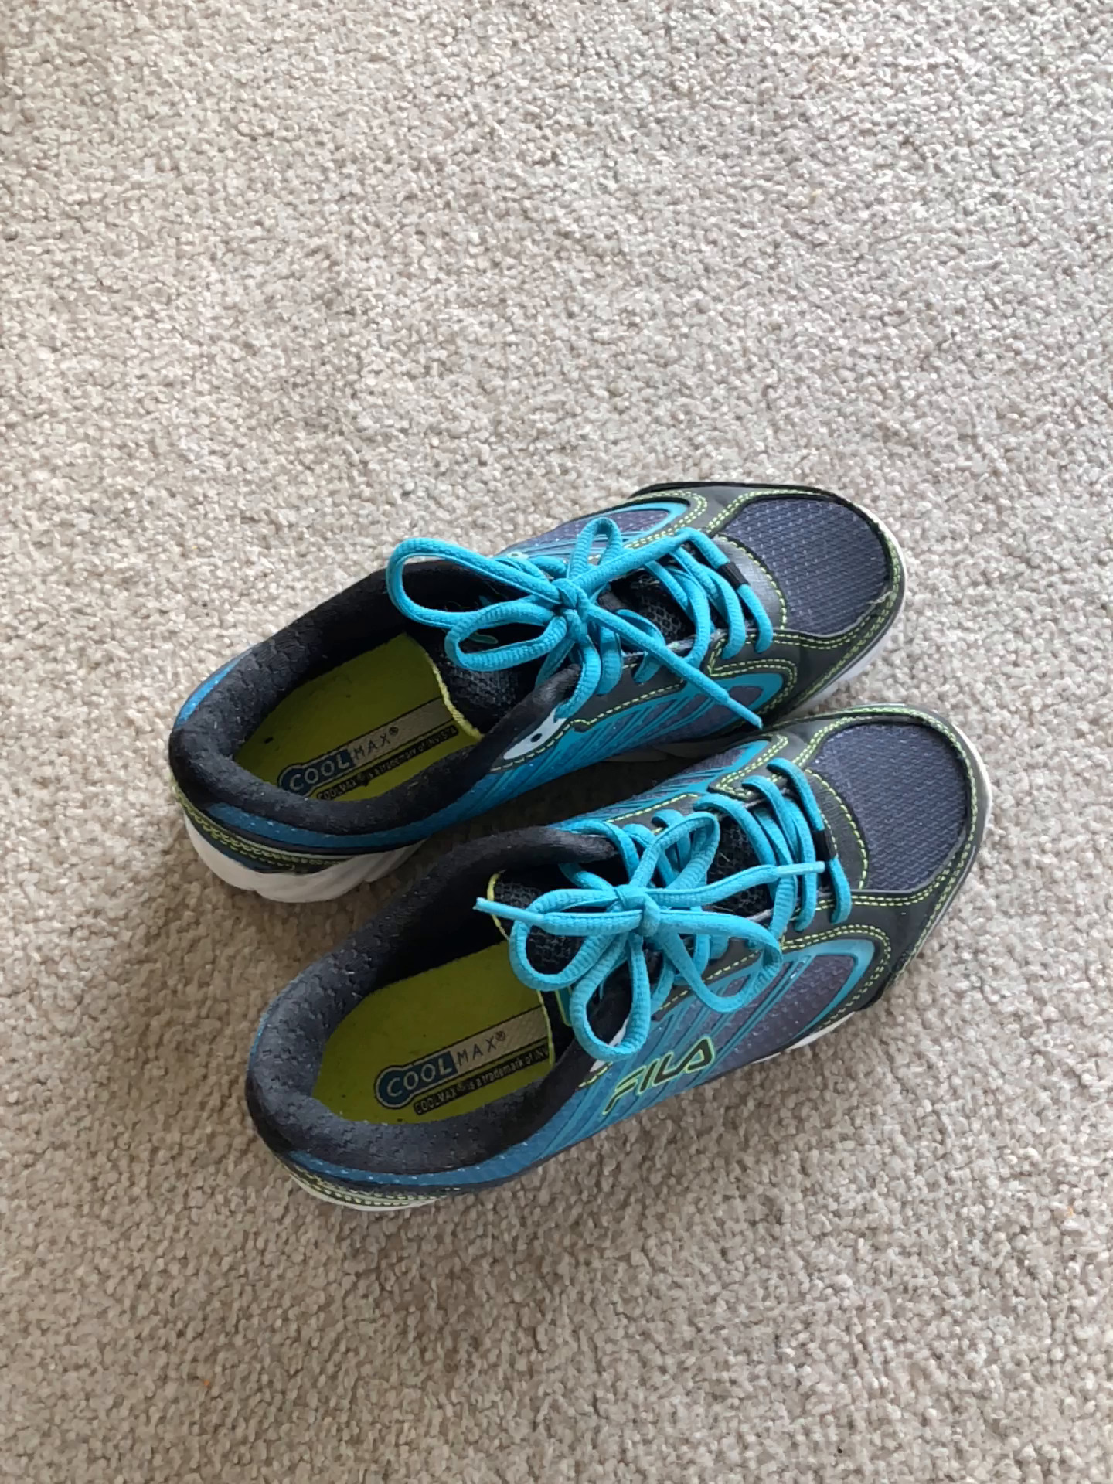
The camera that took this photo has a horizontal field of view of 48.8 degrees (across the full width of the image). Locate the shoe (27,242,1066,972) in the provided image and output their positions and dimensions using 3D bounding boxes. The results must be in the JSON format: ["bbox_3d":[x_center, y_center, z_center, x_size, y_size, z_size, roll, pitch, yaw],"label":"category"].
[{"bbox_3d":[-0.001,-0.036,0.401,0.274,0.119,0.102,-24,75,-7],"label":"shoe"}]

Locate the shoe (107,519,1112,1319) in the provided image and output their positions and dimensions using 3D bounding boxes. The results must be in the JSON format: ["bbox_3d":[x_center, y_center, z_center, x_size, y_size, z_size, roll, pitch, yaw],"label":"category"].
[{"bbox_3d":[0.031,0.054,0.370,0.271,0.119,0.105,-23,72,-6],"label":"shoe"}]
